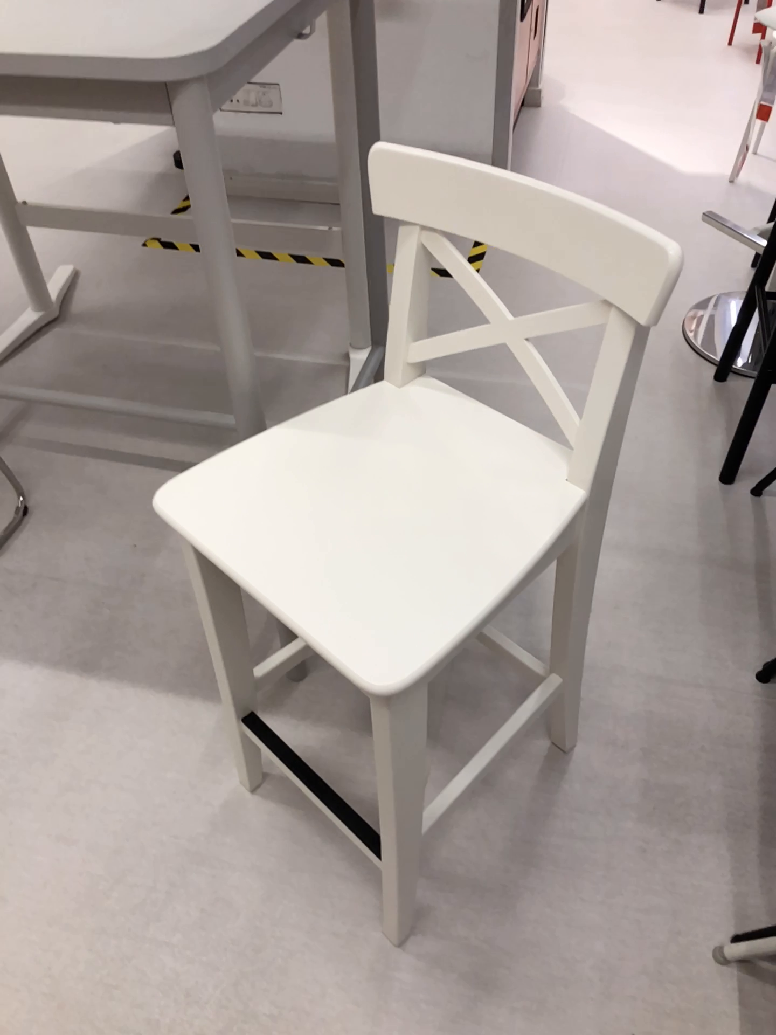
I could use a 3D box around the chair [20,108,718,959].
[{"bbox_3d":[-0.004,0.056,1.013,0.421,0.835,0.422,-35,52,-29],"label":"chair"}]
